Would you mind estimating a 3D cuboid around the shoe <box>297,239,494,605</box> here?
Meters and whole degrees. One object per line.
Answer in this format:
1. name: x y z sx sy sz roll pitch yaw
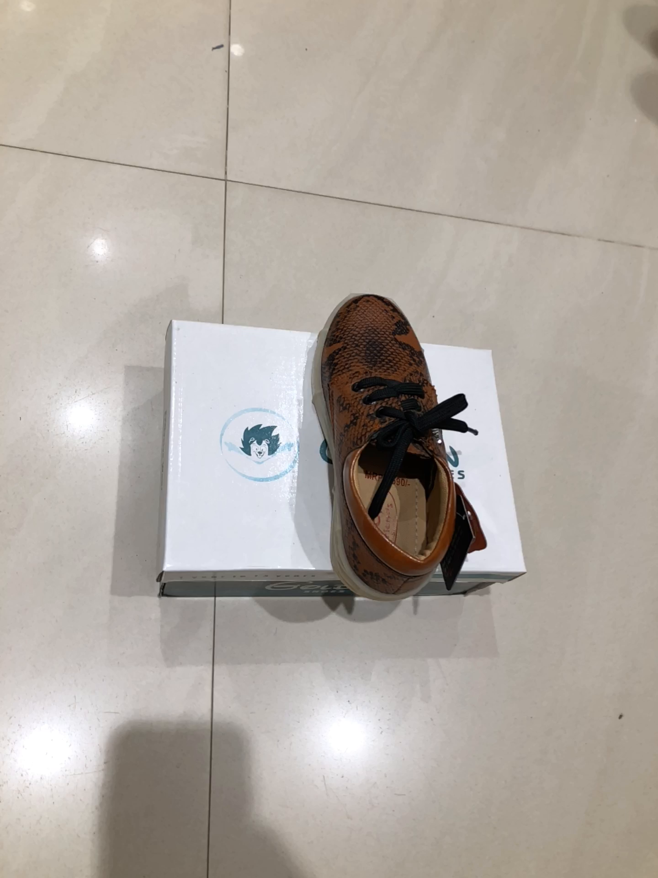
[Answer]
1. shoe: 0.031 -0.007 0.444 0.080 0.090 0.201 4 67 -15
